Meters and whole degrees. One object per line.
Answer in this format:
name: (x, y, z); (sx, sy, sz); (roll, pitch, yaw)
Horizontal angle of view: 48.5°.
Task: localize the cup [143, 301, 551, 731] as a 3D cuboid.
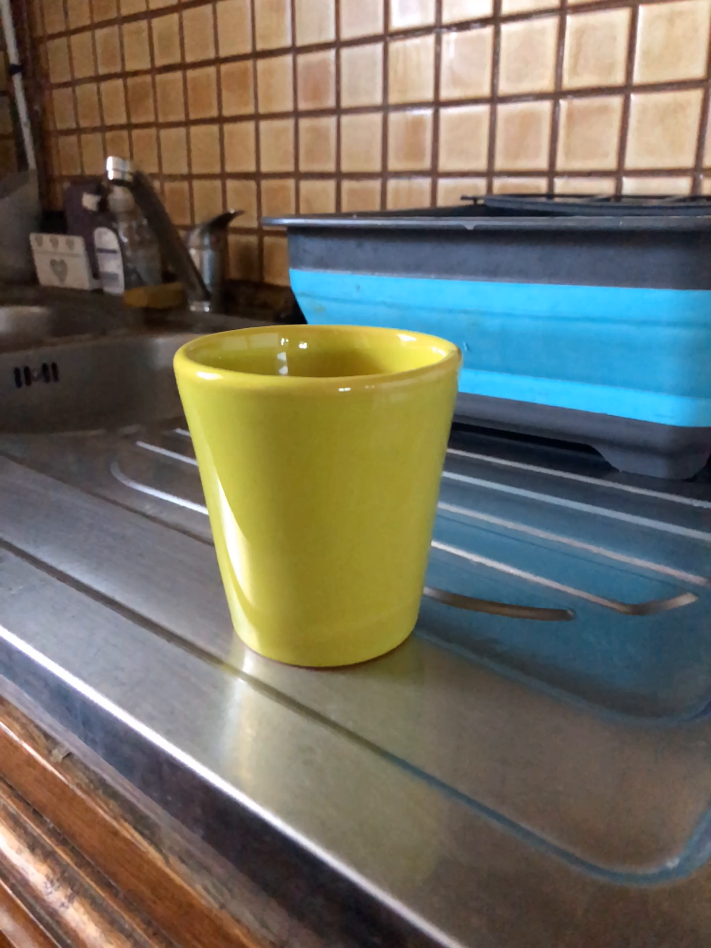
cup: (-0.002, 0.002, 0.233); (0.080, 0.090, 0.080); (0, 19, 0)
